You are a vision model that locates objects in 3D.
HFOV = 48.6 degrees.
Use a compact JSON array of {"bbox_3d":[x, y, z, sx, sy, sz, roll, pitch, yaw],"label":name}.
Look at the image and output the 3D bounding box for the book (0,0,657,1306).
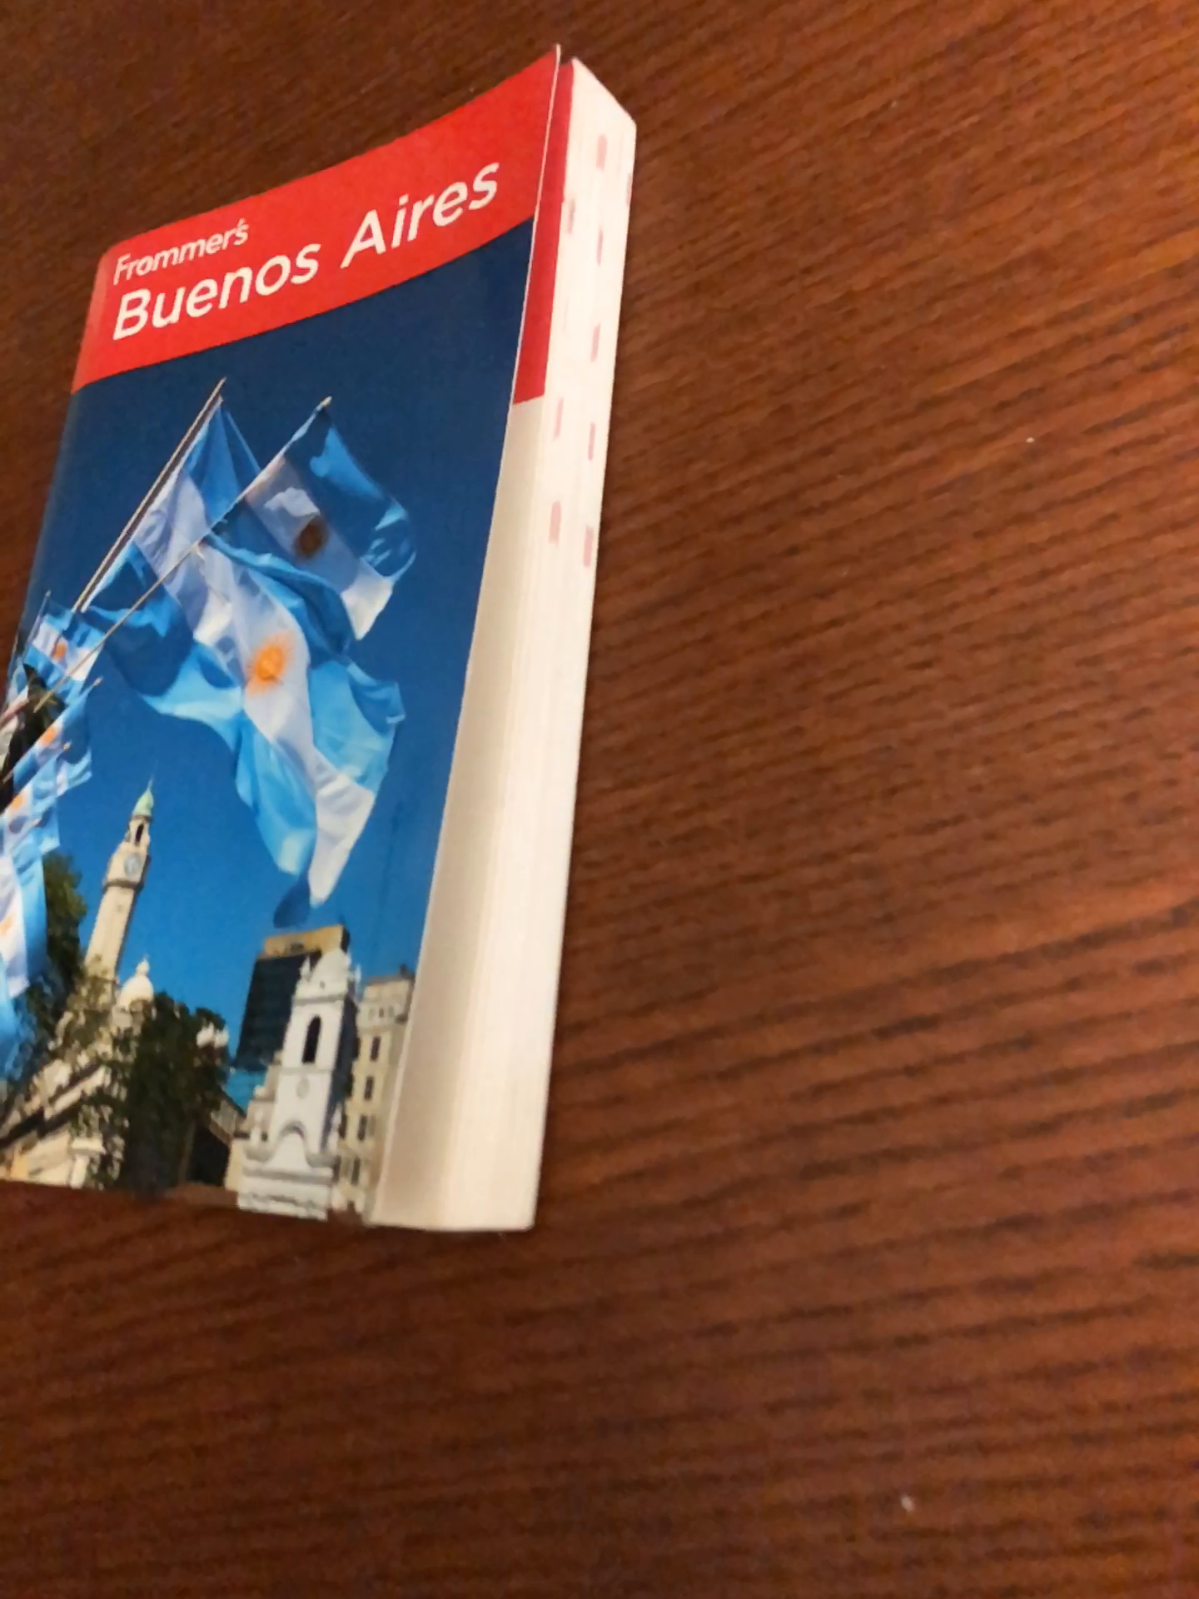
[{"bbox_3d":[-0.071,-0.035,0.237,0.160,0.020,0.220,-7,70,30],"label":"book"}]
